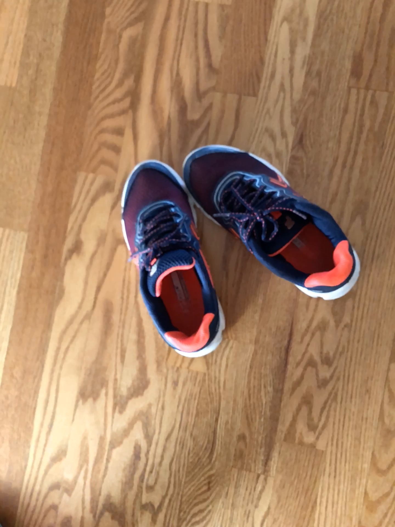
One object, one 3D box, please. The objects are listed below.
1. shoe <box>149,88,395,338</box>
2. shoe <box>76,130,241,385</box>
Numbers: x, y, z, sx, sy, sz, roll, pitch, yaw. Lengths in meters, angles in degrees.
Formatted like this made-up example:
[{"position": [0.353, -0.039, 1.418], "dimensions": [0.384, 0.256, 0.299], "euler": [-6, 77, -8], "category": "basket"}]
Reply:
[{"position": [0.090, -0.057, 0.536], "dimensions": [0.116, 0.110, 0.277], "euler": [-45, 83, 5], "category": "shoe"}, {"position": [-0.042, -0.006, 0.553], "dimensions": [0.108, 0.110, 0.270], "euler": [-19, 86, 7], "category": "shoe"}]
